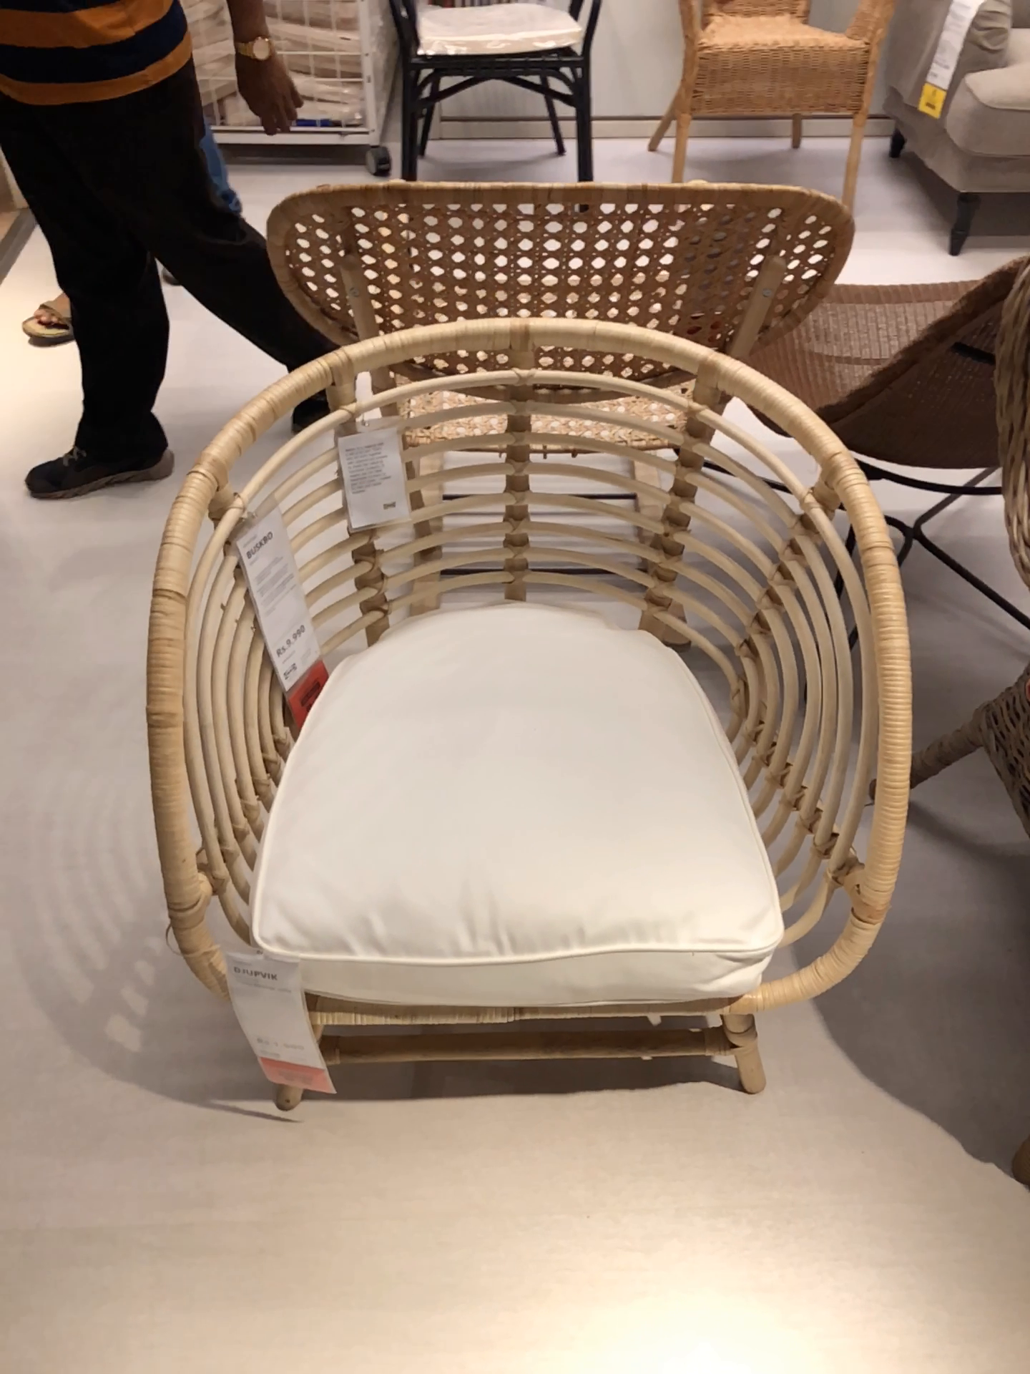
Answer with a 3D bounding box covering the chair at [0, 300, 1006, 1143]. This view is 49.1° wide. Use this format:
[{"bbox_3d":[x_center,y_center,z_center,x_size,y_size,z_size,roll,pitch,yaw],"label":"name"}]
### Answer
[{"bbox_3d":[-0.011,0.054,1.397,0.780,0.775,0.704,0,45,0],"label":"chair"}]
